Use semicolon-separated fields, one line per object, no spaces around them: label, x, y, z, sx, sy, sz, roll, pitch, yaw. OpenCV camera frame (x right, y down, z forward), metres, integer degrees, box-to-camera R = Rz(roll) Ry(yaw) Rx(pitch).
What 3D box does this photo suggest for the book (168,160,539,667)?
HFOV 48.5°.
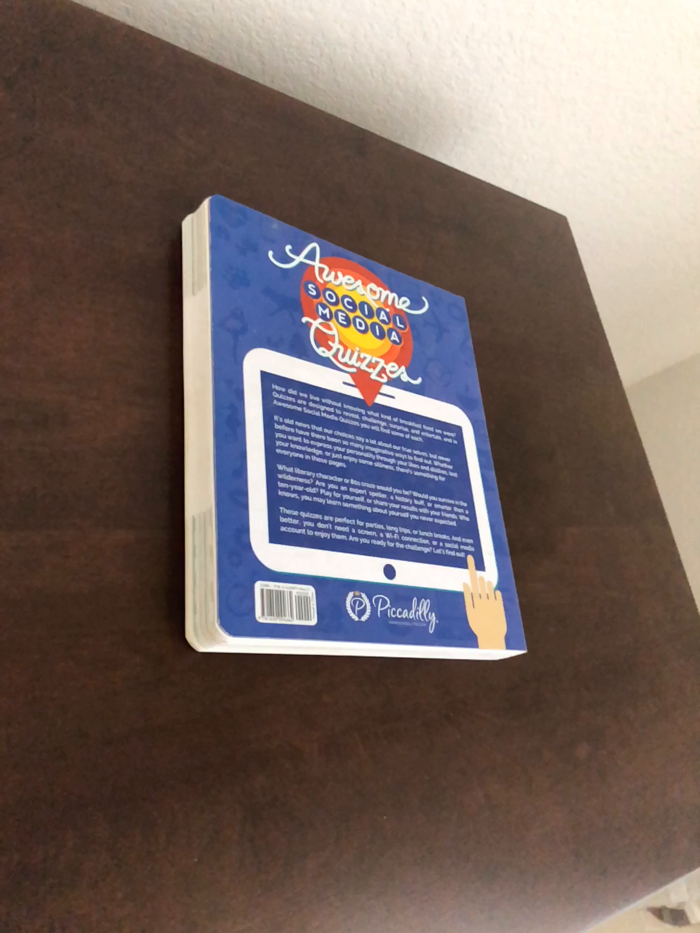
book;0.002;-0.018;0.365;0.174;0.030;0.214;12;62;-37
